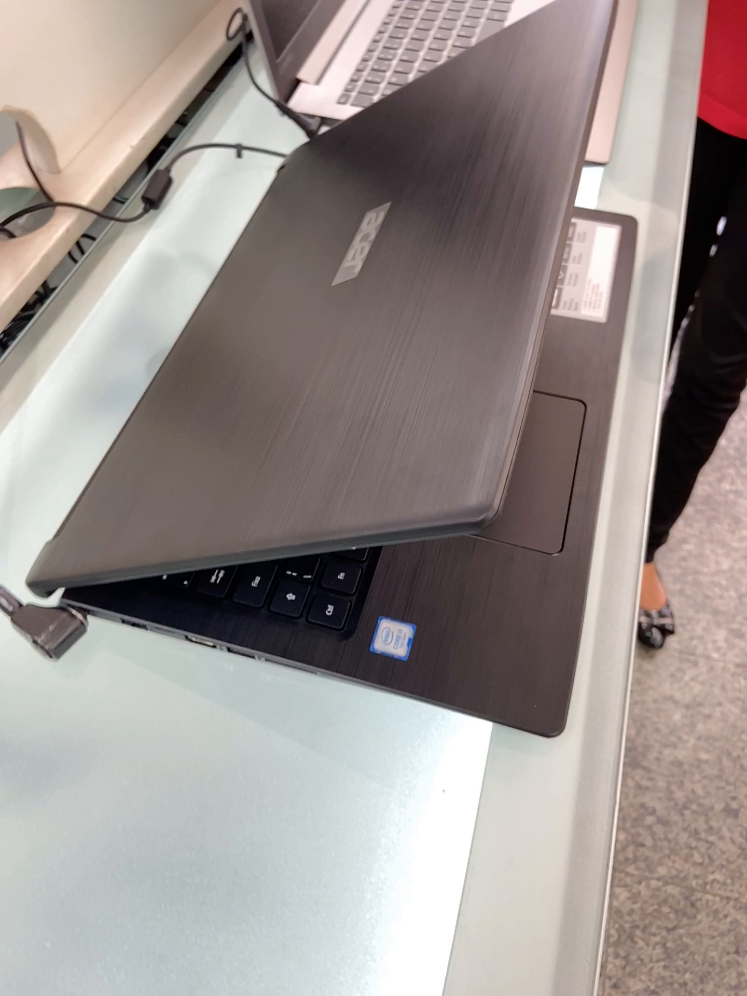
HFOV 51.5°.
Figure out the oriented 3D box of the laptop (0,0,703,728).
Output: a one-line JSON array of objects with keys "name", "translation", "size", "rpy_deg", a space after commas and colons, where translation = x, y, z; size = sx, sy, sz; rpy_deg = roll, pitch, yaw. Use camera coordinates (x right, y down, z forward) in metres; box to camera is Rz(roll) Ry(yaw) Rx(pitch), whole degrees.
[{"name": "laptop", "translation": [0.015, -0.116, 0.386], "size": [0.232, 0.142, 0.368], "rpy_deg": [13, 56, 9]}]
